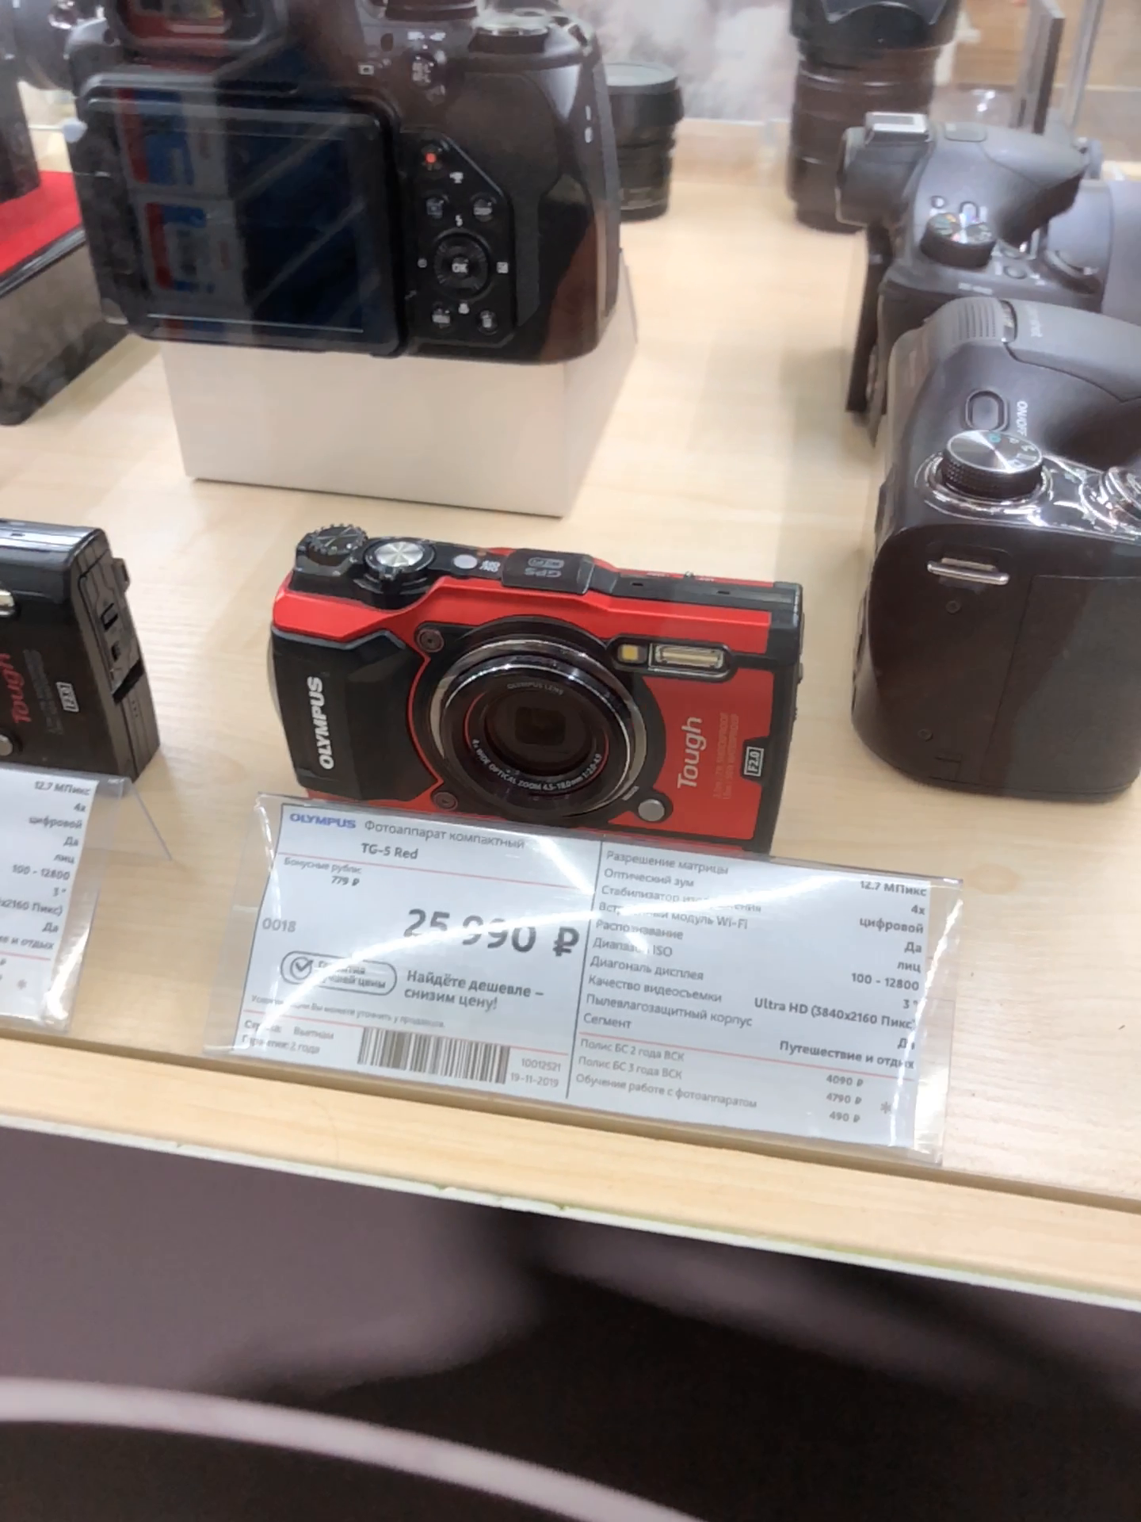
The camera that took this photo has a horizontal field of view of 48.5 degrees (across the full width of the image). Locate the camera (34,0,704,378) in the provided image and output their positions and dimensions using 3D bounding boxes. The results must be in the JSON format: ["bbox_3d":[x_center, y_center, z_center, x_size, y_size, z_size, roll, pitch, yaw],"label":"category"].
[{"bbox_3d":[-0.045,-0.184,0.369,0.147,0.086,0.127,7,40,9],"label":"camera"}]

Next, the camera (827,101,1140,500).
[{"bbox_3d":[0.154,-0.177,0.468,0.102,0.086,0.159,7,40,8],"label":"camera"}]

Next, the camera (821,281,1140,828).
[{"bbox_3d":[0.117,-0.057,0.314,0.094,0.078,0.117,7,40,9],"label":"camera"}]

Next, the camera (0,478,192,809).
[{"bbox_3d":[-0.158,-0.029,0.307,0.116,0.061,0.030,7,39,8],"label":"camera"}]

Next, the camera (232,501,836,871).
[{"bbox_3d":[-0.007,-0.016,0.275,0.119,0.061,0.030,7,39,8],"label":"camera"}]
